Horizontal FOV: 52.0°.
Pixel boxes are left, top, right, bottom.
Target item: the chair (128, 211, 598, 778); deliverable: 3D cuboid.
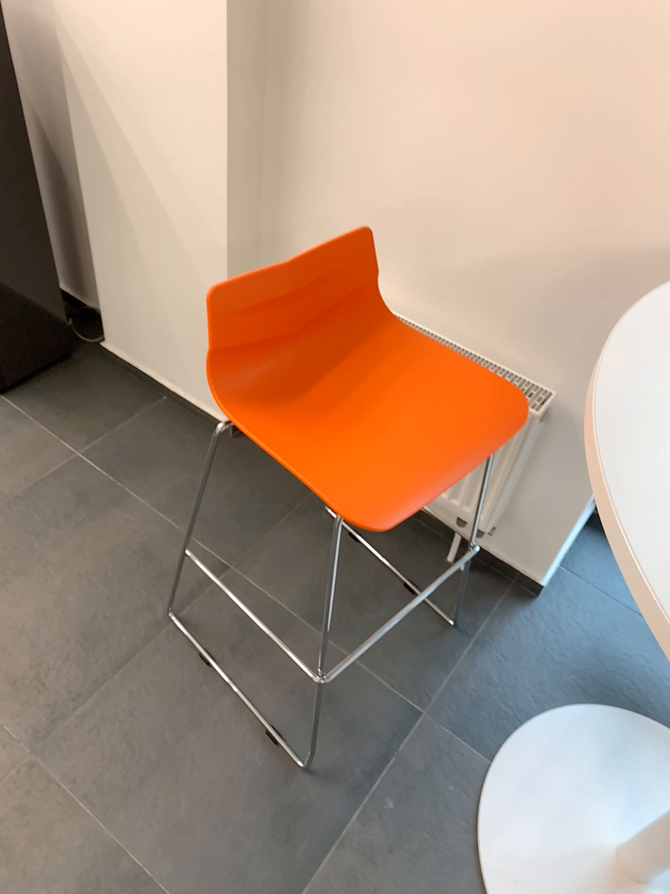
[{"bbox_3d":[0.006,0.118,1.409,0.501,0.905,0.572,39,52,26],"label":"chair"}]
